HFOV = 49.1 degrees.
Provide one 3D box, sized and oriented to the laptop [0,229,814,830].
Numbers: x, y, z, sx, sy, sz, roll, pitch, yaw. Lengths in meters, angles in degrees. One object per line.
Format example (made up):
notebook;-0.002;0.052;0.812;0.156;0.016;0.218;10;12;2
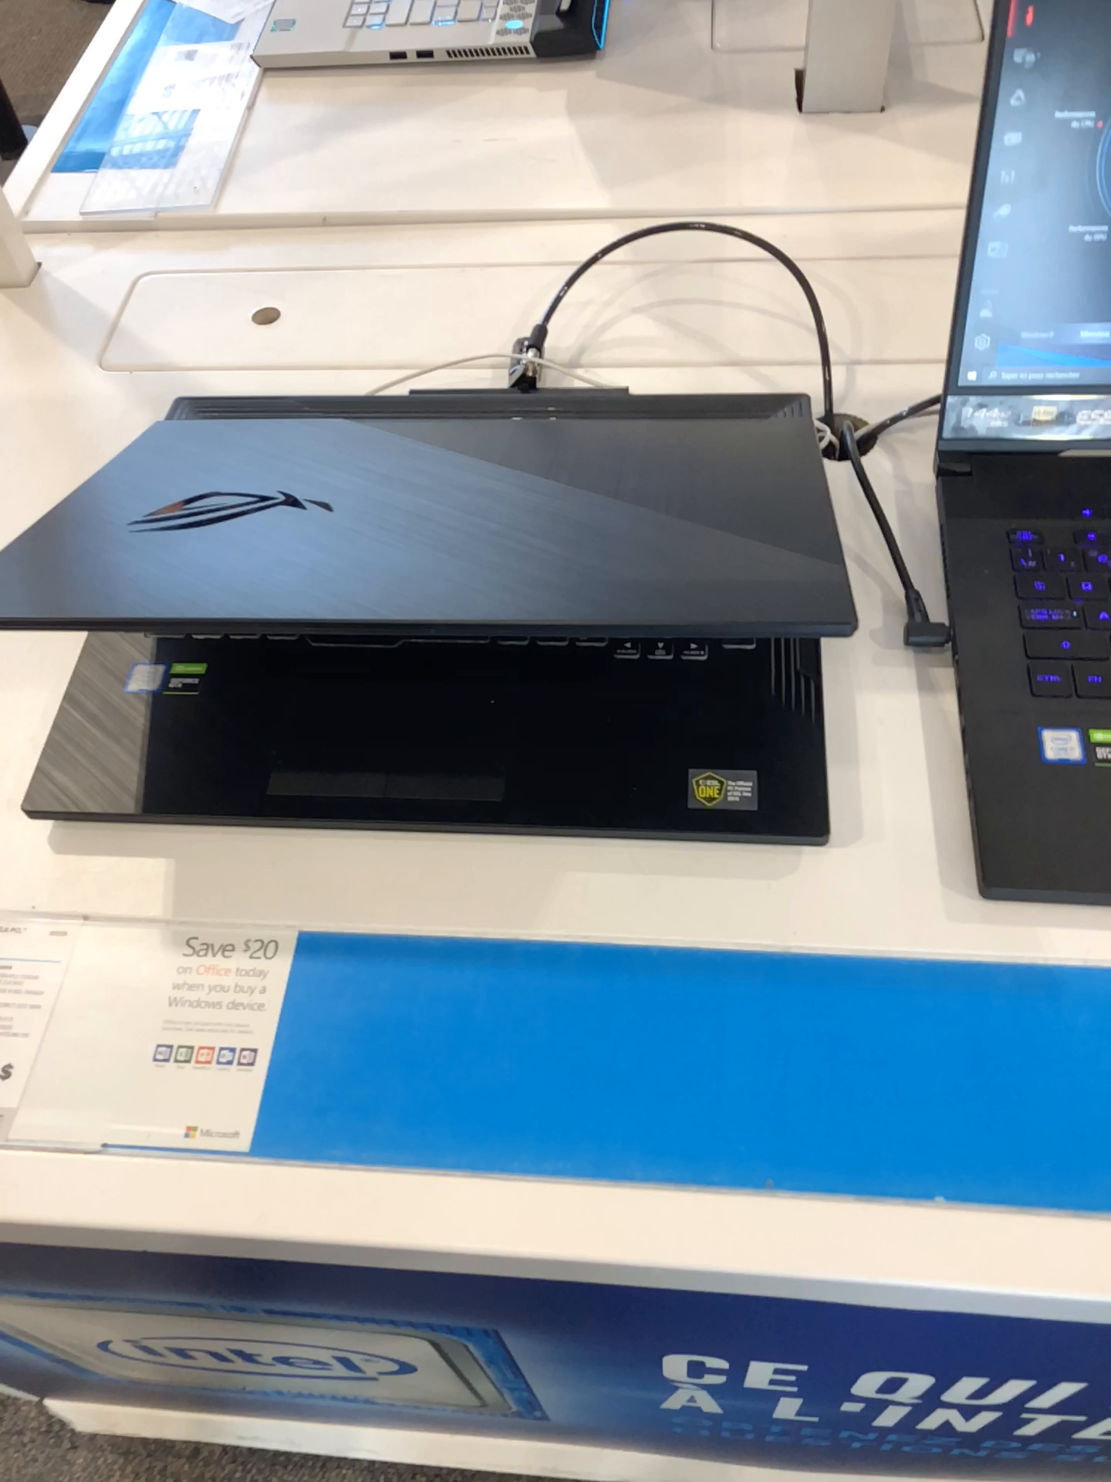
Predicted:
laptop;-0.057;-0.102;0.554;0.331;0.097;0.263;1;56;9
